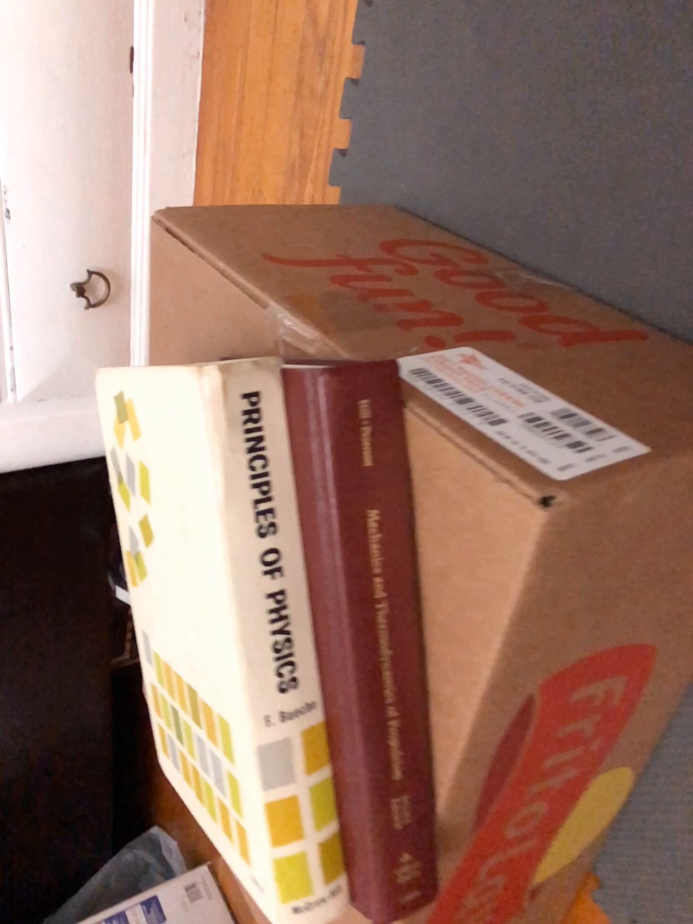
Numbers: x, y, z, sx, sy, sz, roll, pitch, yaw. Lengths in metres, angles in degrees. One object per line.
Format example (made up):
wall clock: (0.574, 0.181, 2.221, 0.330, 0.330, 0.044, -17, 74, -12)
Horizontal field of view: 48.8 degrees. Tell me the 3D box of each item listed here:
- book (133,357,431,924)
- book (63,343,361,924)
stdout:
book: (-0.040, 0.077, 0.385, 0.181, 0.040, 0.250, 14, 114, 55)
book: (-0.075, 0.073, 0.377, 0.181, 0.040, 0.250, 9, 110, 56)
